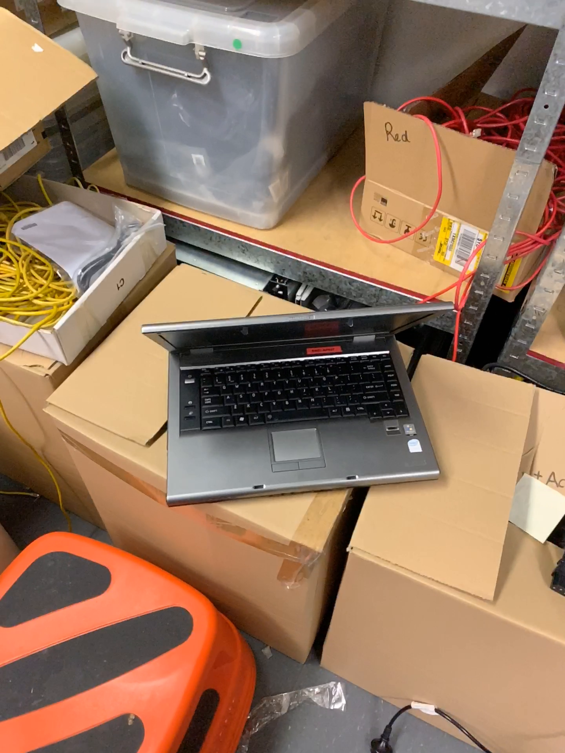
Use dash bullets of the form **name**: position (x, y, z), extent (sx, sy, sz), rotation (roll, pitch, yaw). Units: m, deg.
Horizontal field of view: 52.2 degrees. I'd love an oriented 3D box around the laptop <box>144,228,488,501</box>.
- **laptop**: position (0.019, -0.019, 0.744), extent (0.352, 0.203, 0.254), rotation (-5, 50, -4)
